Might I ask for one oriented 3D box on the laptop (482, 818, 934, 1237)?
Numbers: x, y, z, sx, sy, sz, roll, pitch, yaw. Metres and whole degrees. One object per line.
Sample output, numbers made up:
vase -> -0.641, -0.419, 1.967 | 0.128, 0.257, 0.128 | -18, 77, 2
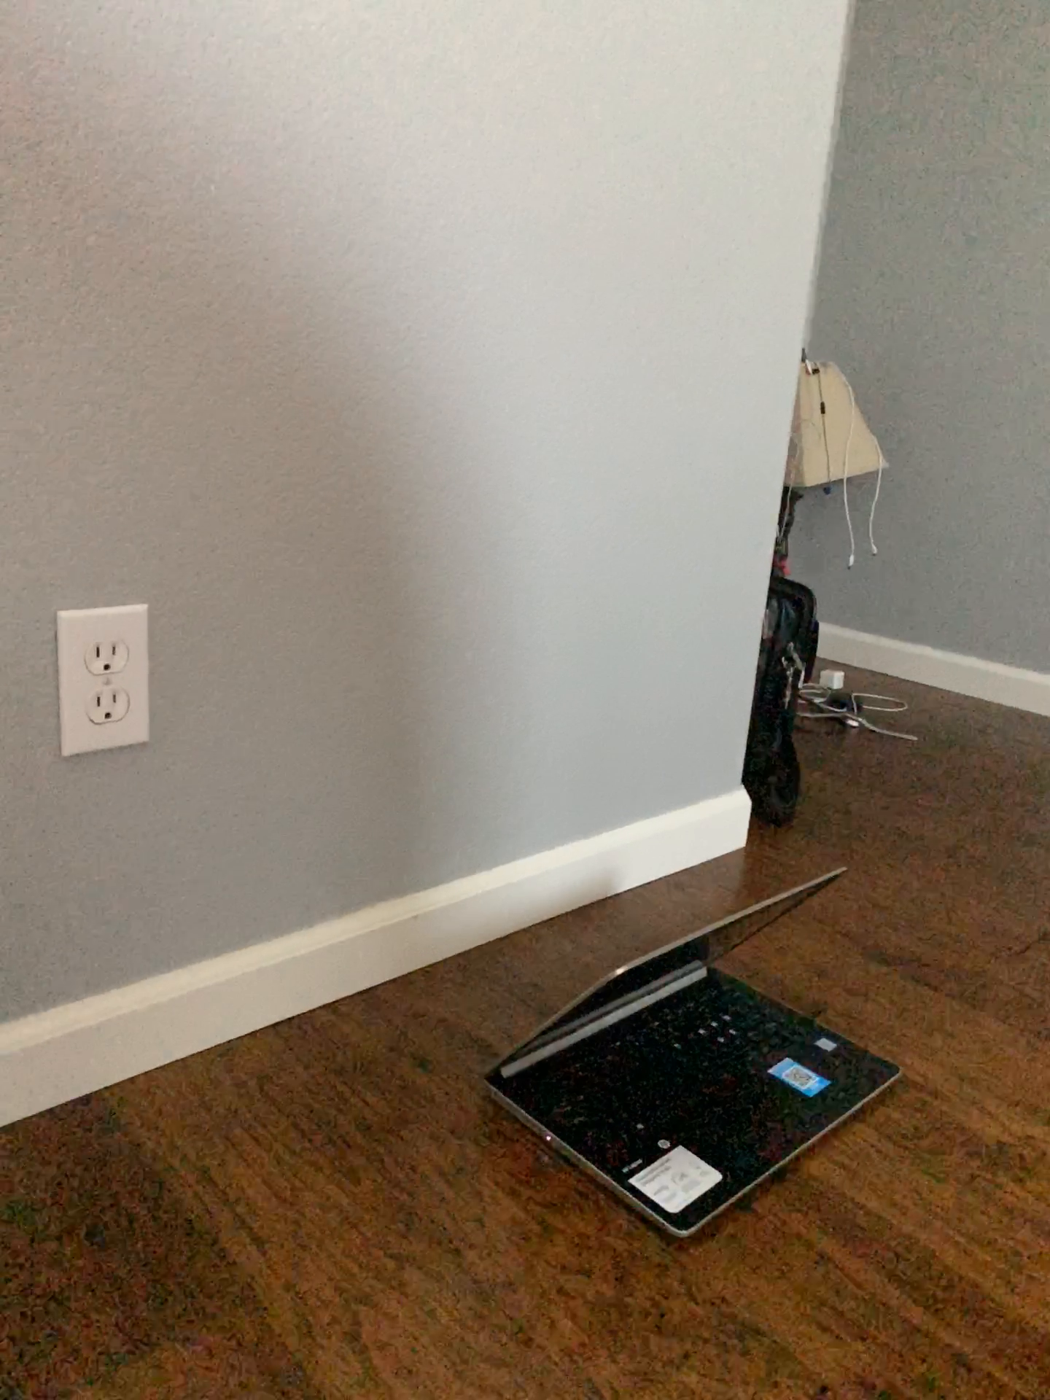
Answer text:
laptop -> 0.161, 0.253, 0.931 | 0.317, 0.169, 0.220 | -11, 23, -43
